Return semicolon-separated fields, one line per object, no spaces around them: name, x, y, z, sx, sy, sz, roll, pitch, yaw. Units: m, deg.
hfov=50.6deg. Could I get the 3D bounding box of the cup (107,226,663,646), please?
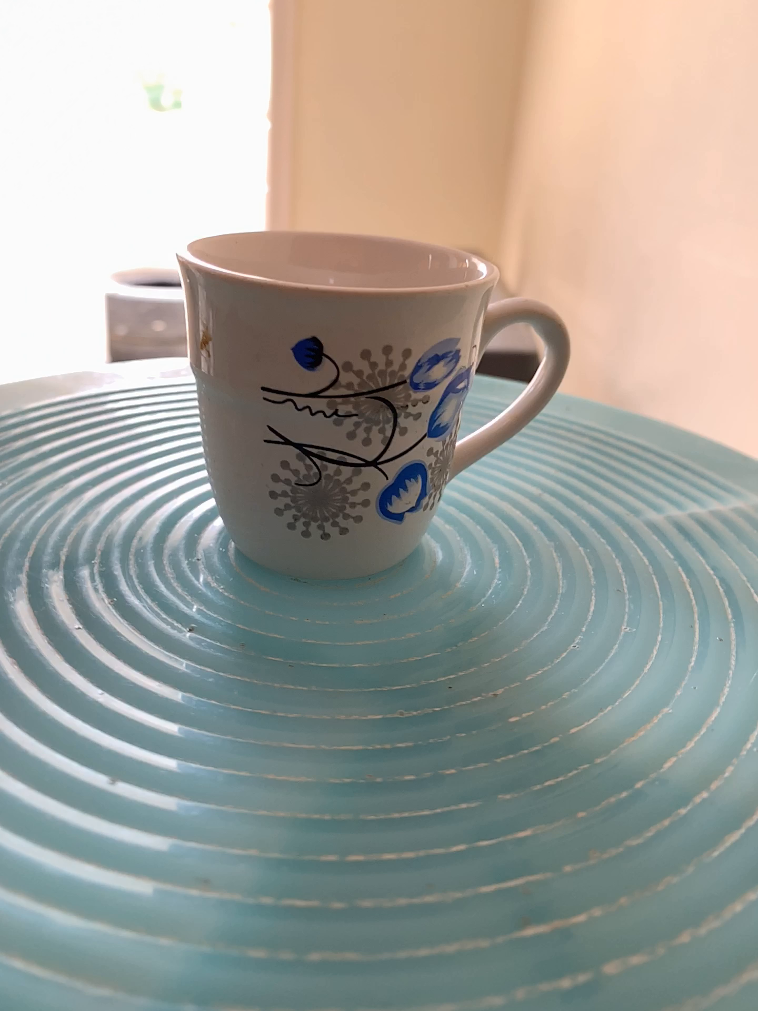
cup;-0.004;-0.023;0.173;0.090;0.060;0.070;-8;28;-25
